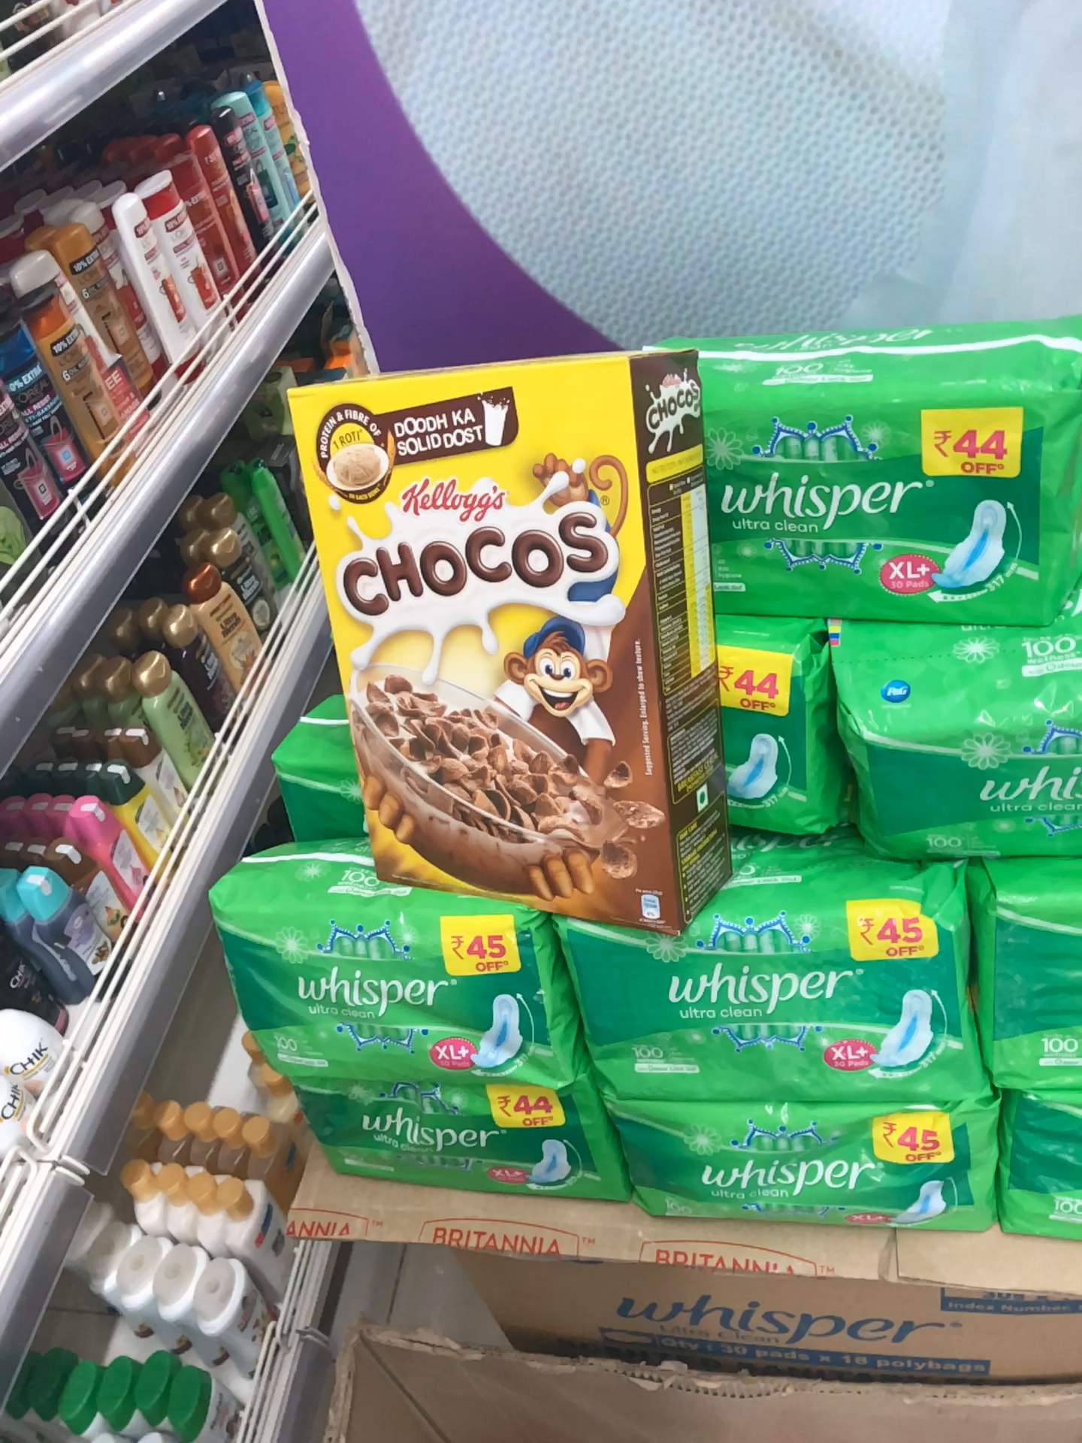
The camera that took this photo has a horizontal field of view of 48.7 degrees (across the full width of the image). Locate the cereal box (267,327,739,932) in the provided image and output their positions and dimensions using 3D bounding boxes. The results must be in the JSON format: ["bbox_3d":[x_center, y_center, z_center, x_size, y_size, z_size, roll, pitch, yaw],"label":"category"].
[{"bbox_3d":[-0.015,-0.047,0.588,0.190,0.259,0.080,5,21,32],"label":"cereal box"}]
